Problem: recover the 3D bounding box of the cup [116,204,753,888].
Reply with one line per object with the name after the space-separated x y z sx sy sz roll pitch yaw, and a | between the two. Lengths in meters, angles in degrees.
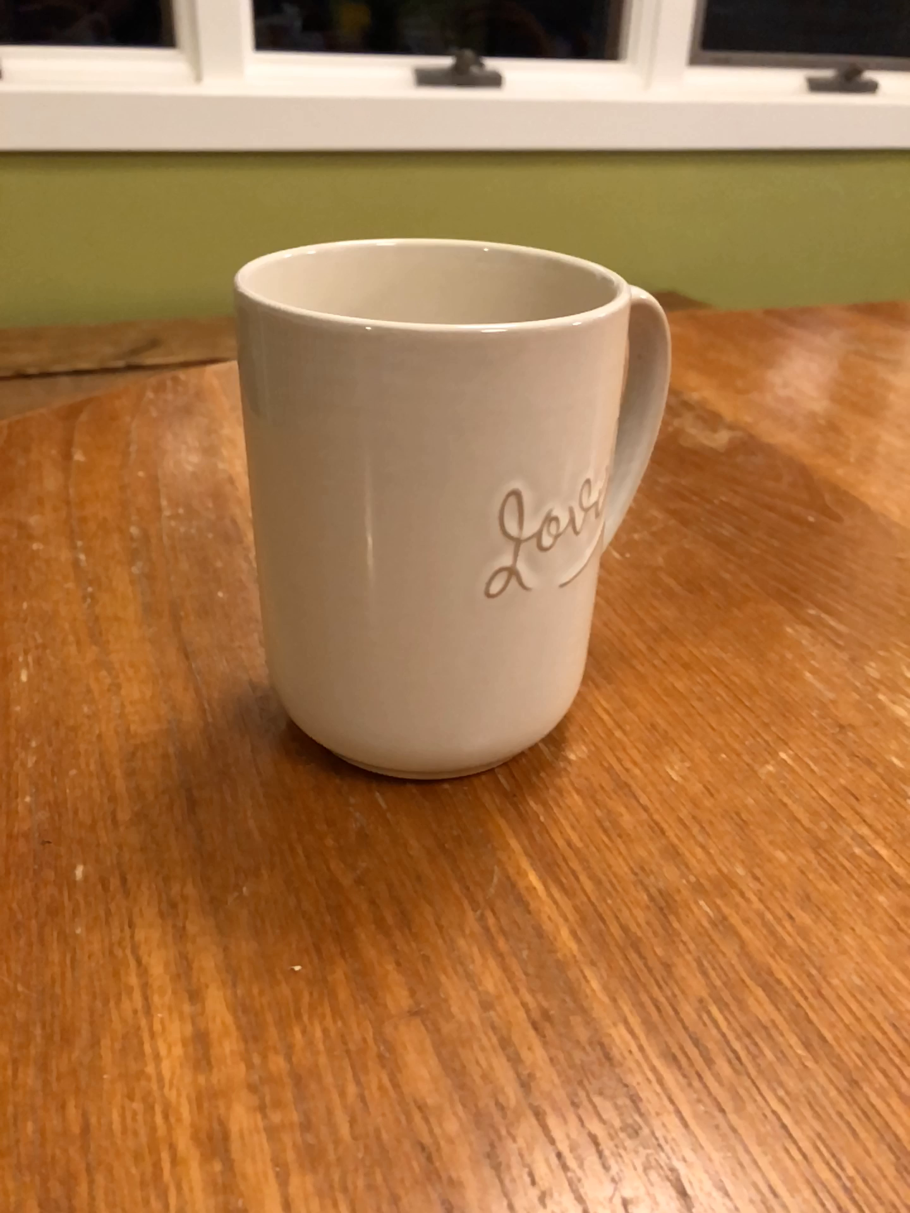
0.001 -0.030 0.274 0.092 0.124 0.135 21 35 29 | cup
